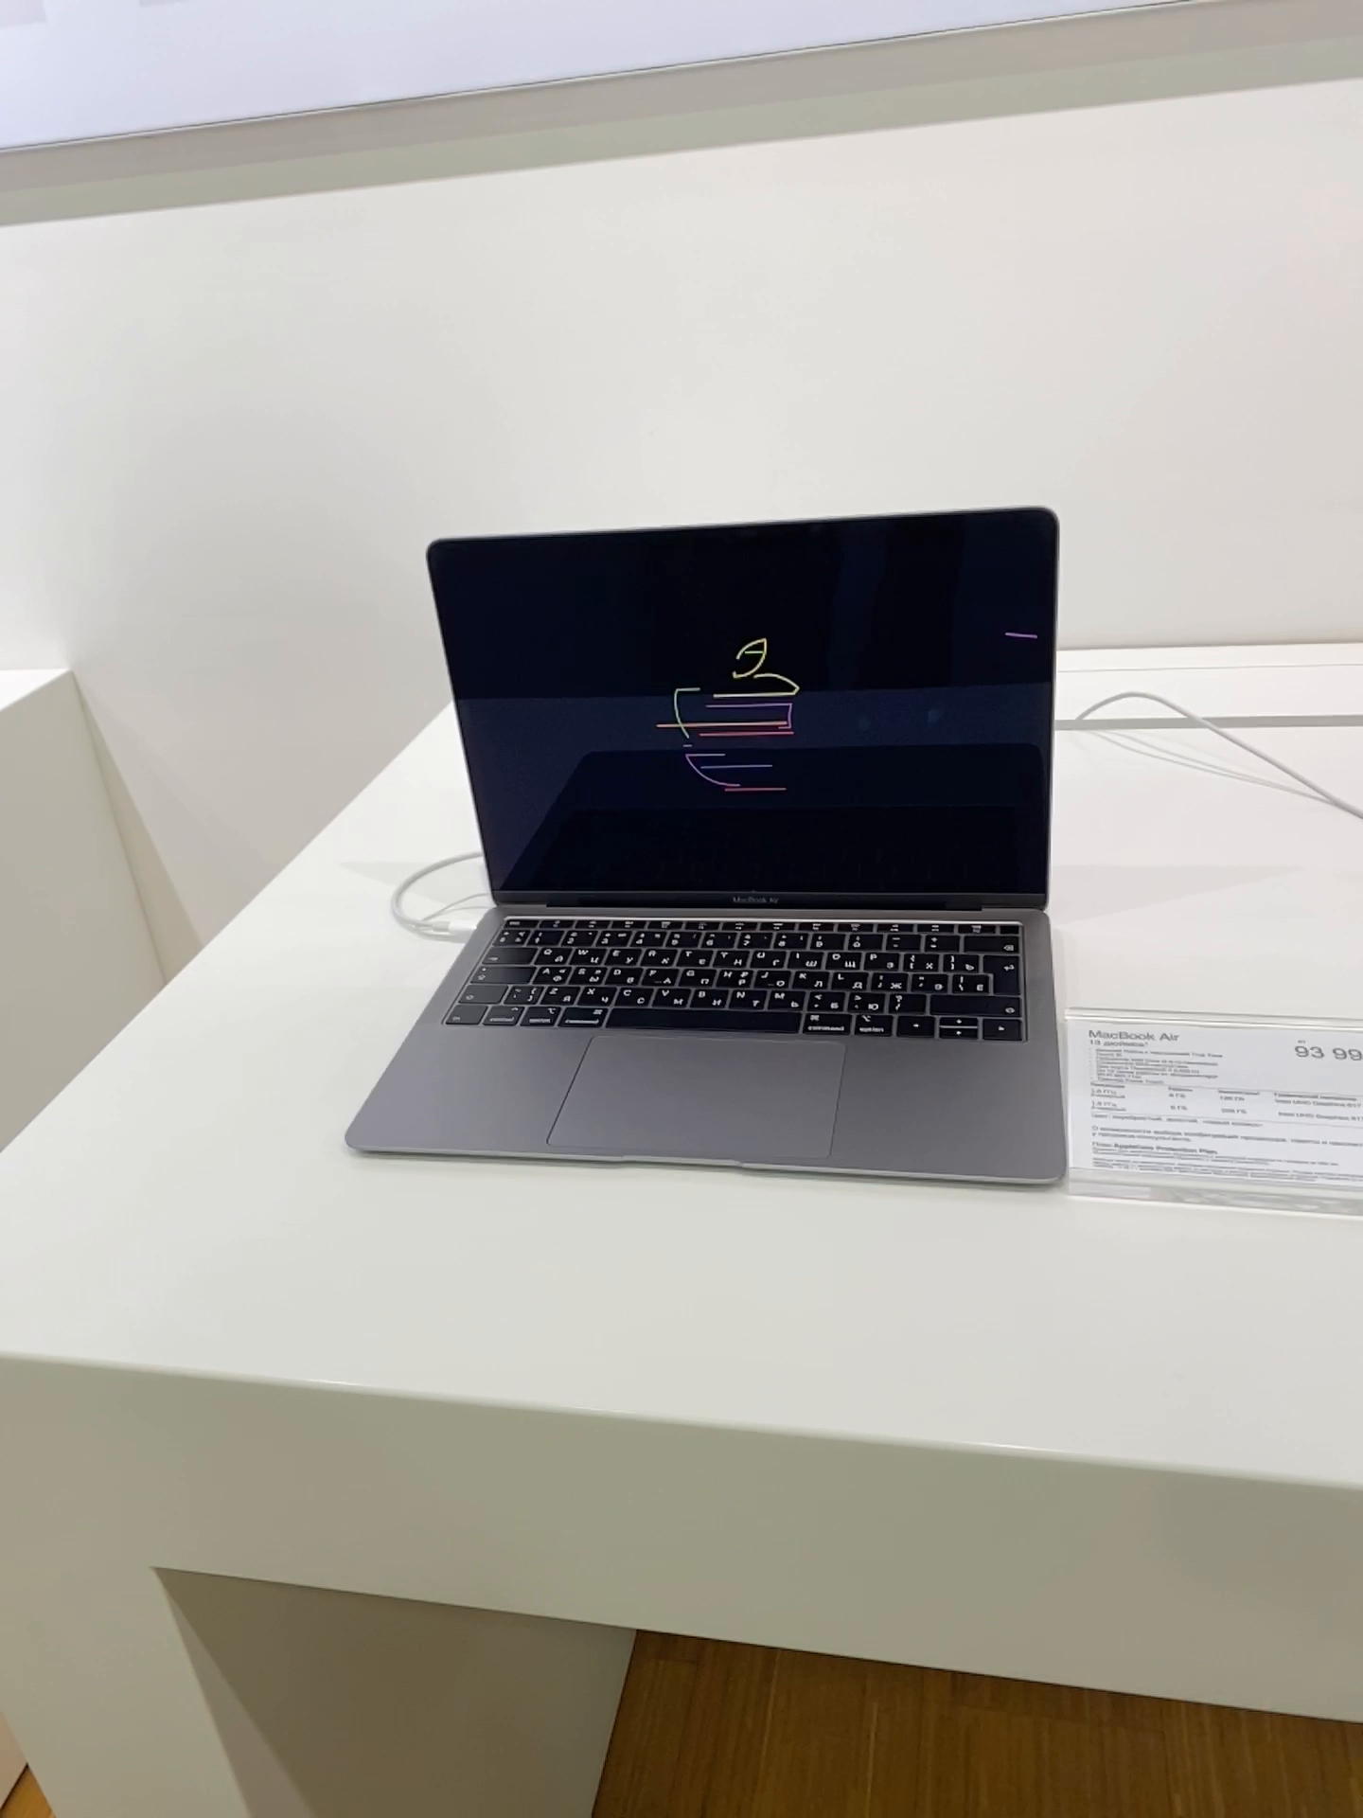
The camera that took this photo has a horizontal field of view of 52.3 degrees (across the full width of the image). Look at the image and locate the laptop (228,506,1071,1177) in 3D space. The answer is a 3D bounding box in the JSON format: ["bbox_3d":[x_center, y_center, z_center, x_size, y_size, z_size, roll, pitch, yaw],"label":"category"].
[{"bbox_3d":[0.010,-0.043,0.626,0.302,0.211,0.226,0,27,13],"label":"laptop"}]
